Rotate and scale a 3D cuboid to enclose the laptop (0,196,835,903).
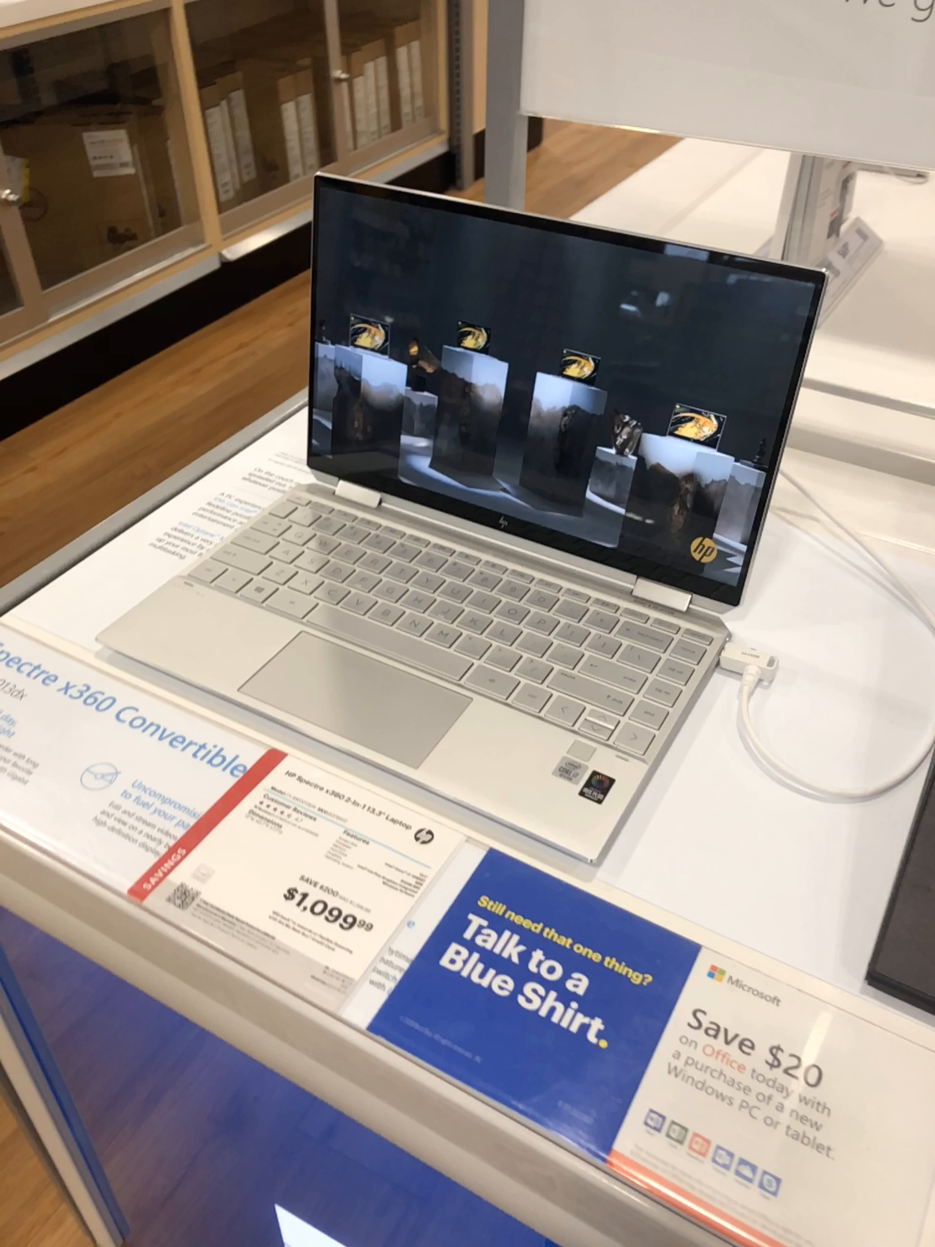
[{"bbox_3d":[-0.018,-0.064,0.514,0.303,0.184,0.228,21,43,23],"label":"laptop"}]
